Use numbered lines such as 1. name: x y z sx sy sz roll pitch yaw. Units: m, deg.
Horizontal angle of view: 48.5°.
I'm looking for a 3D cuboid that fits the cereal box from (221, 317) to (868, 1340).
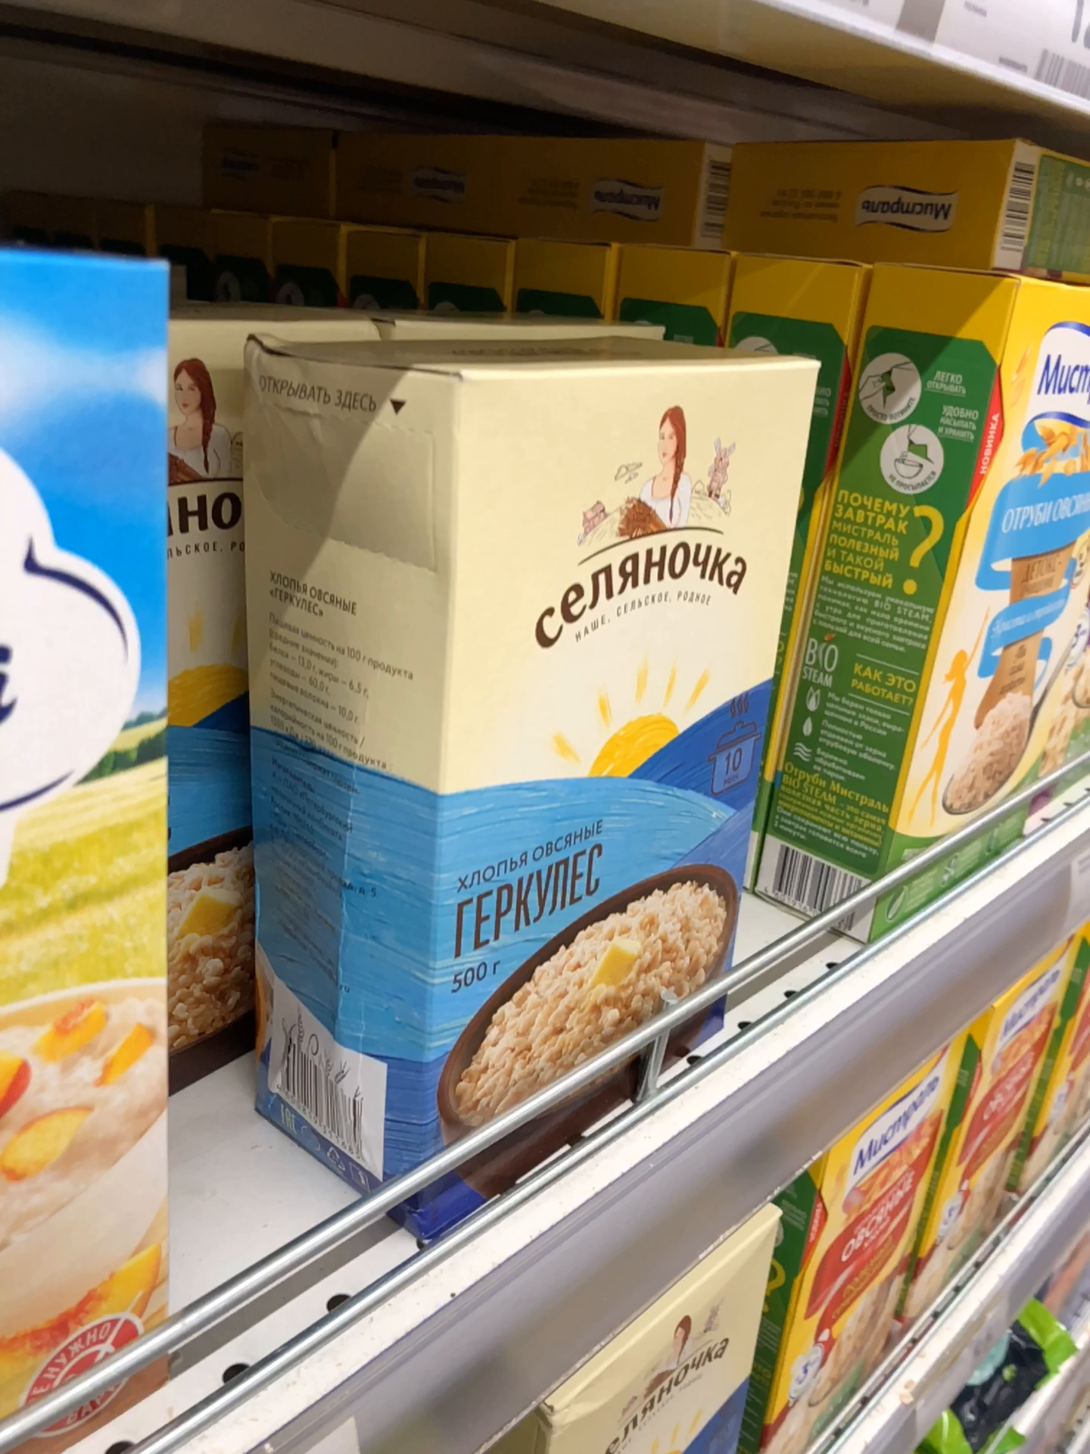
1. cereal box: 0.000 0.013 0.283 0.060 0.199 0.130 22 27 38
